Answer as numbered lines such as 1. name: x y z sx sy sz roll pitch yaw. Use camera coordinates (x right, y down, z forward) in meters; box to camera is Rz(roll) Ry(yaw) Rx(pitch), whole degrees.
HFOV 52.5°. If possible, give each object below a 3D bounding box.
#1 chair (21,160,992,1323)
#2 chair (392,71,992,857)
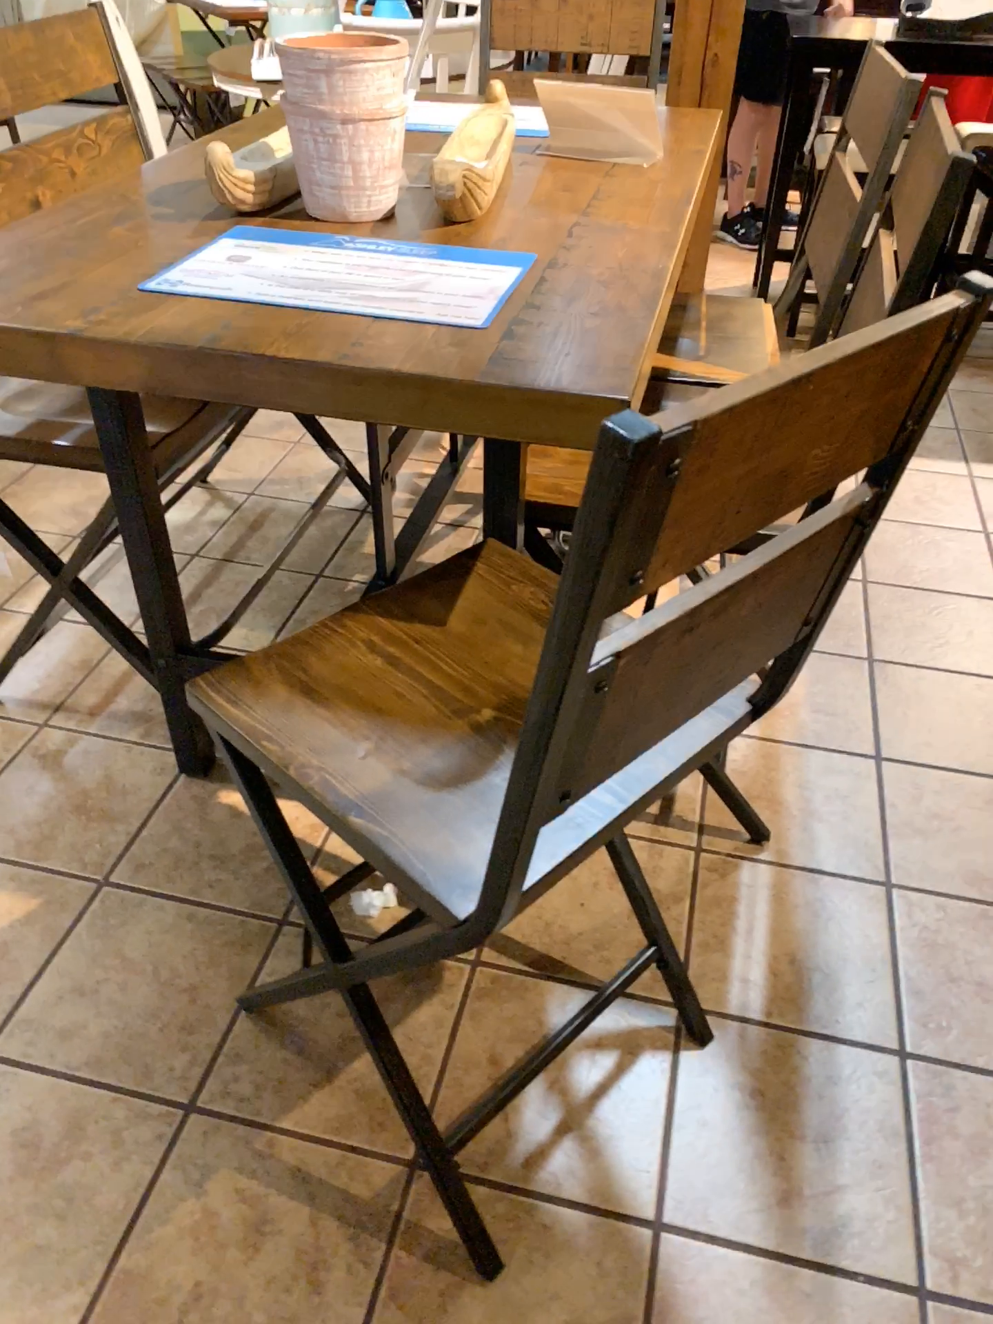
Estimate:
1. chair: -0.021 0.083 1.047 0.443 0.983 0.617 -28 44 -35
2. chair: 0.254 -0.279 1.530 0.615 1.003 0.494 8 39 12
